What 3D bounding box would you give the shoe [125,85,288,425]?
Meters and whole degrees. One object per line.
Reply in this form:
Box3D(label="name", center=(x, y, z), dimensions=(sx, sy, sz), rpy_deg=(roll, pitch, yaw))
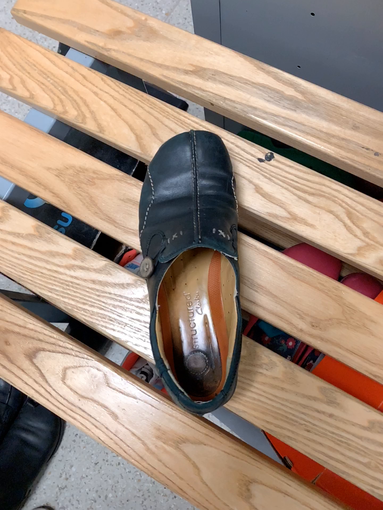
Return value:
Box3D(label="shoe", center=(0.009, -0.003, 0.351), dimensions=(0.104, 0.075, 0.268), rpy_deg=(-6, 78, 5))
